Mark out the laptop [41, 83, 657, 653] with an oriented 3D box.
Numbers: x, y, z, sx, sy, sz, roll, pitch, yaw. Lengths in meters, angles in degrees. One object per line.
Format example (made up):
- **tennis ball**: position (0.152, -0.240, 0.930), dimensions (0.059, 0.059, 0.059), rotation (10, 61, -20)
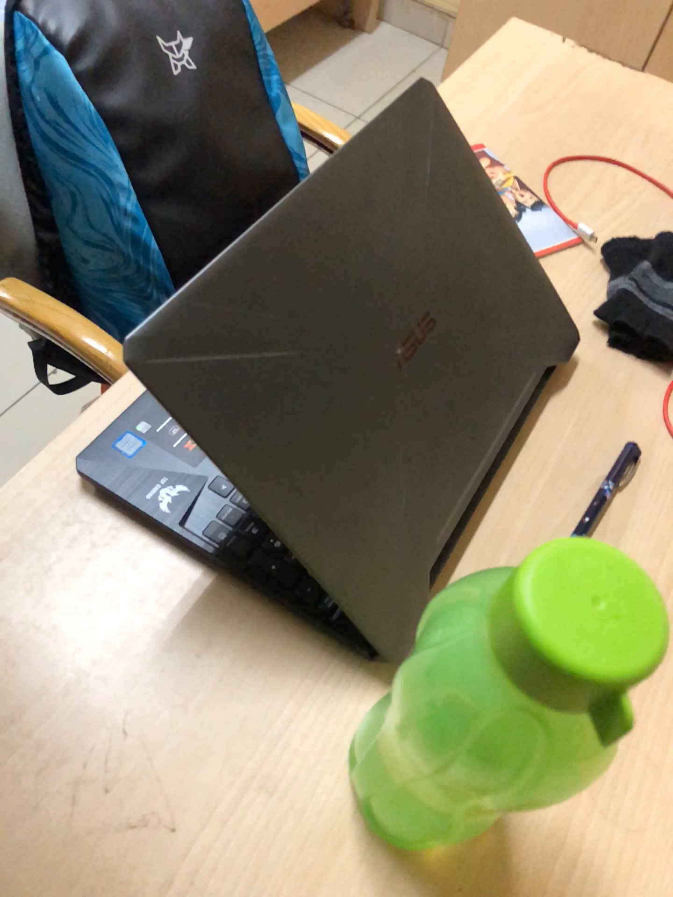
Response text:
- **laptop**: position (0.025, -0.082, 0.521), dimensions (0.248, 0.147, 0.340), rotation (29, 55, 13)
